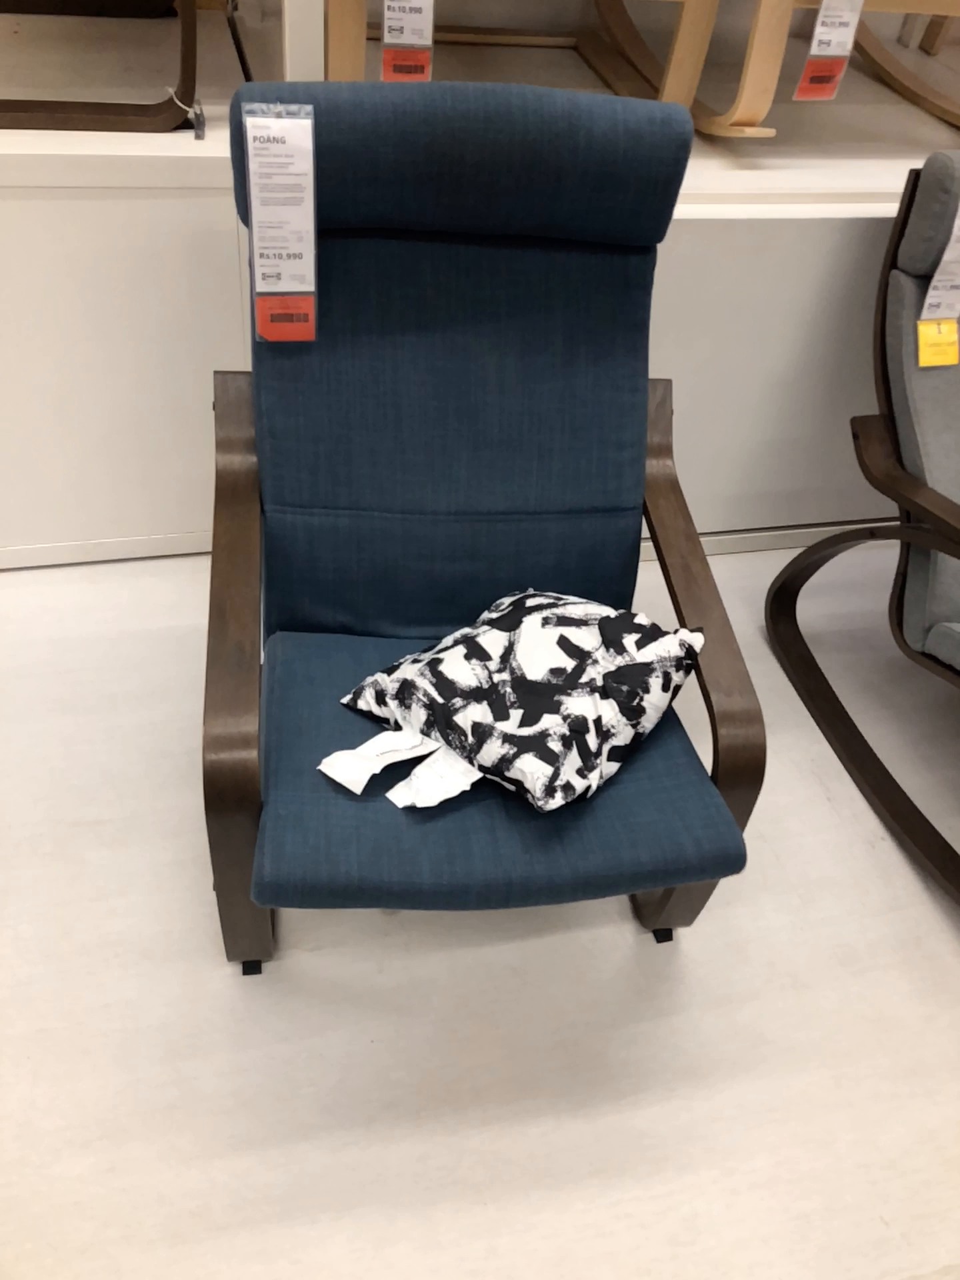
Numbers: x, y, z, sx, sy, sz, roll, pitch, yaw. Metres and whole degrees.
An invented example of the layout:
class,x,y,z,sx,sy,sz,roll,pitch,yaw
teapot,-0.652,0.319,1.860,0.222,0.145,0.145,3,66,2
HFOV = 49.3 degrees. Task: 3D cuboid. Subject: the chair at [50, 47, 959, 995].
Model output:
class,x,y,z,sx,sy,sz,roll,pitch,yaw
chair,-0.017,-0.122,1.305,0.720,0.884,0.695,-1,45,-9
